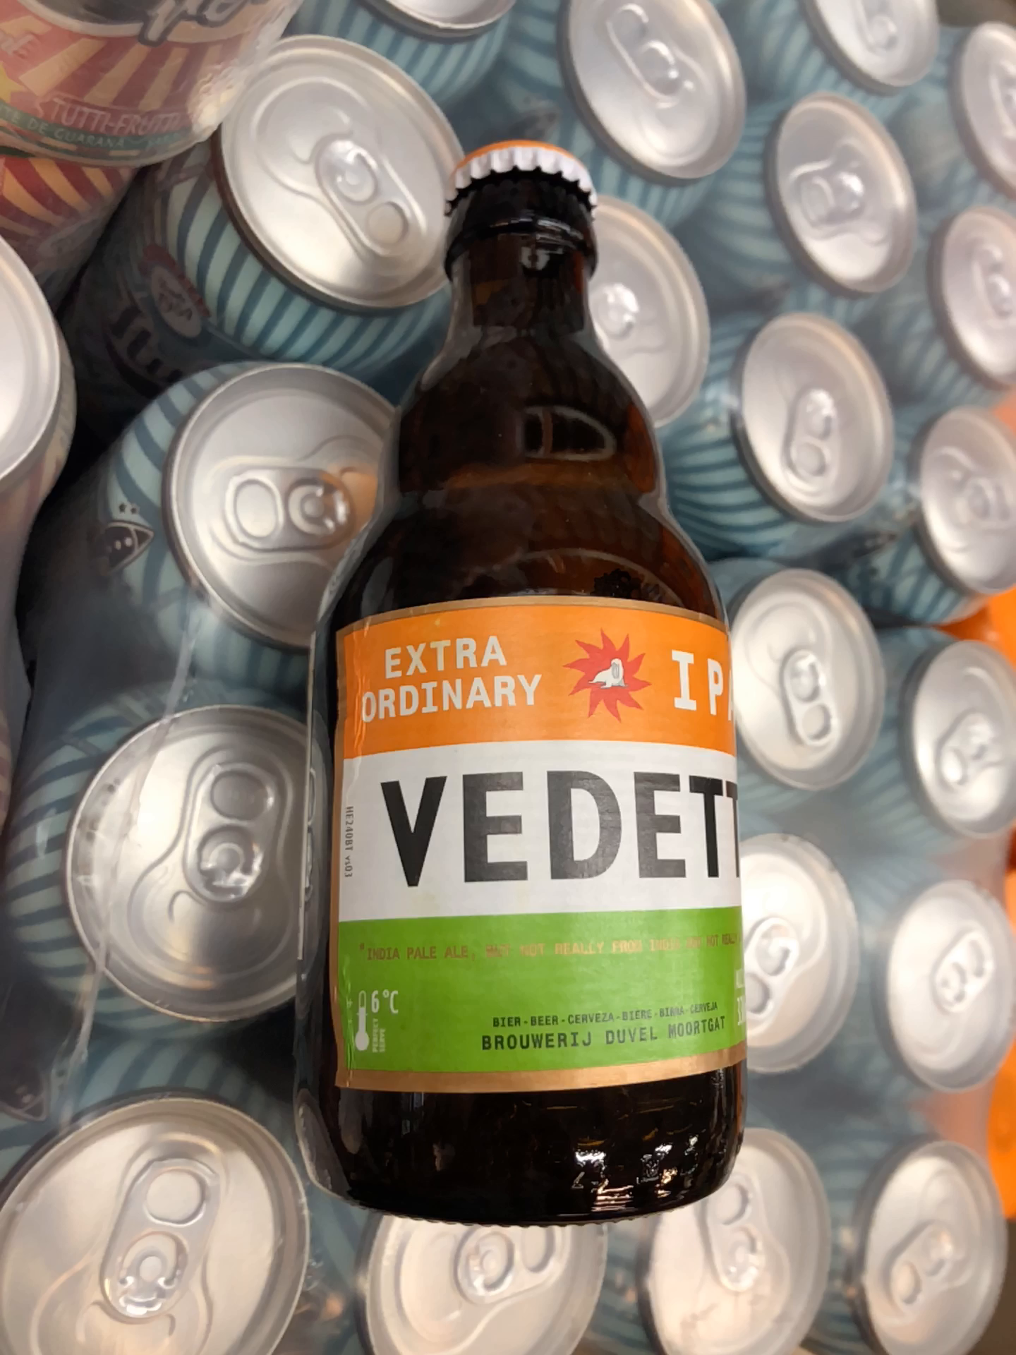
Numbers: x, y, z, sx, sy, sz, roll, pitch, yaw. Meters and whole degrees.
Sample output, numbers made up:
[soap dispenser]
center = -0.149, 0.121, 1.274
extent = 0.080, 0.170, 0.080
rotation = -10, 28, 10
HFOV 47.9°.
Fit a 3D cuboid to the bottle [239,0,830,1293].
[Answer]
[bottle]
center = 0.005, -0.015, 0.191
extent = 0.070, 0.060, 0.190
rotation = 7, 80, -32
